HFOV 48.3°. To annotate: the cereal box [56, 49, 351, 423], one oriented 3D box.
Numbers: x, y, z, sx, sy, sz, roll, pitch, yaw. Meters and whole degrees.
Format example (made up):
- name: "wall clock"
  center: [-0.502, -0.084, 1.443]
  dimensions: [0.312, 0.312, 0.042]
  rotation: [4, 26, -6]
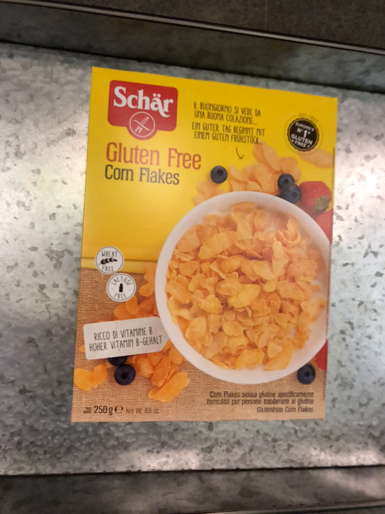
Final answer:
- name: "cereal box"
  center: [0.009, -0.010, 0.338]
  dimensions: [0.200, 0.070, 0.250]
  rotation: [3, 89, -10]
